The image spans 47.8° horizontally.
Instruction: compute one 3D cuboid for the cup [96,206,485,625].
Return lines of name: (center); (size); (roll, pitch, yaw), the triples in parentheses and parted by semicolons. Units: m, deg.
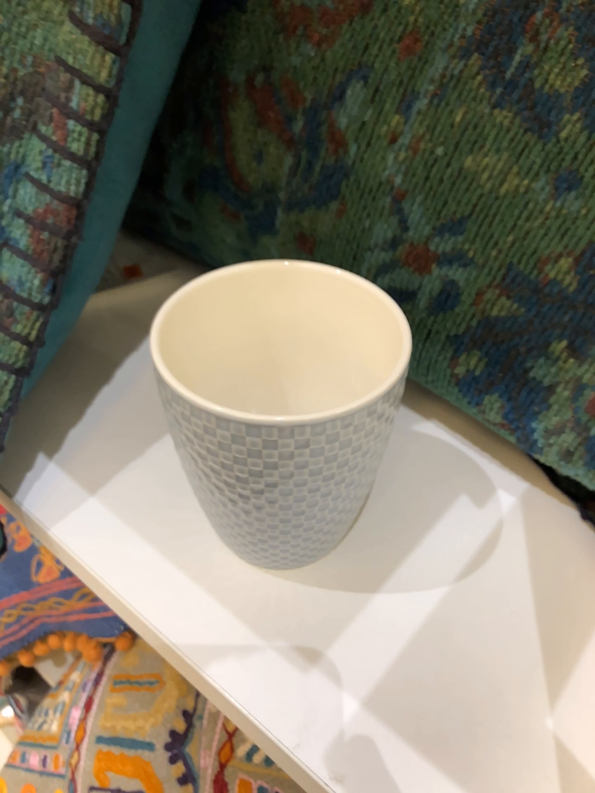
cup: (-0.009, 0.001, 0.233); (0.090, 0.079, 0.101); (-14, 45, -15)
